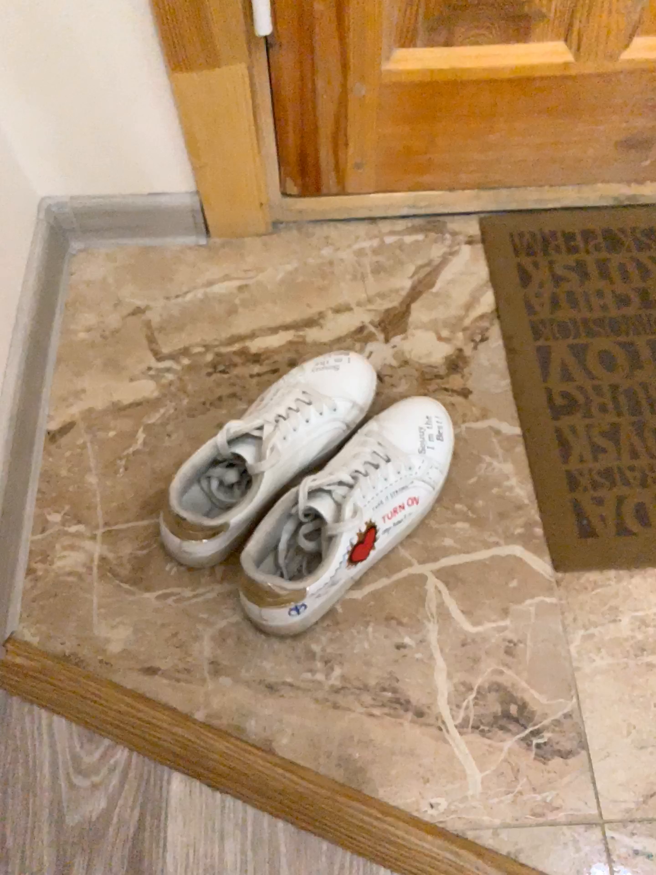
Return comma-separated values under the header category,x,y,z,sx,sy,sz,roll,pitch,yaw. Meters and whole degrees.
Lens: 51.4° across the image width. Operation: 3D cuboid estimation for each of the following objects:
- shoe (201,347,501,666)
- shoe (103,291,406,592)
category,x,y,z,sx,sy,sz,roll,pitch,yaw
shoe,0.025,0.053,0.571,0.092,0.080,0.256,38,70,18
shoe,-0.053,-0.001,0.590,0.092,0.080,0.256,39,70,19
